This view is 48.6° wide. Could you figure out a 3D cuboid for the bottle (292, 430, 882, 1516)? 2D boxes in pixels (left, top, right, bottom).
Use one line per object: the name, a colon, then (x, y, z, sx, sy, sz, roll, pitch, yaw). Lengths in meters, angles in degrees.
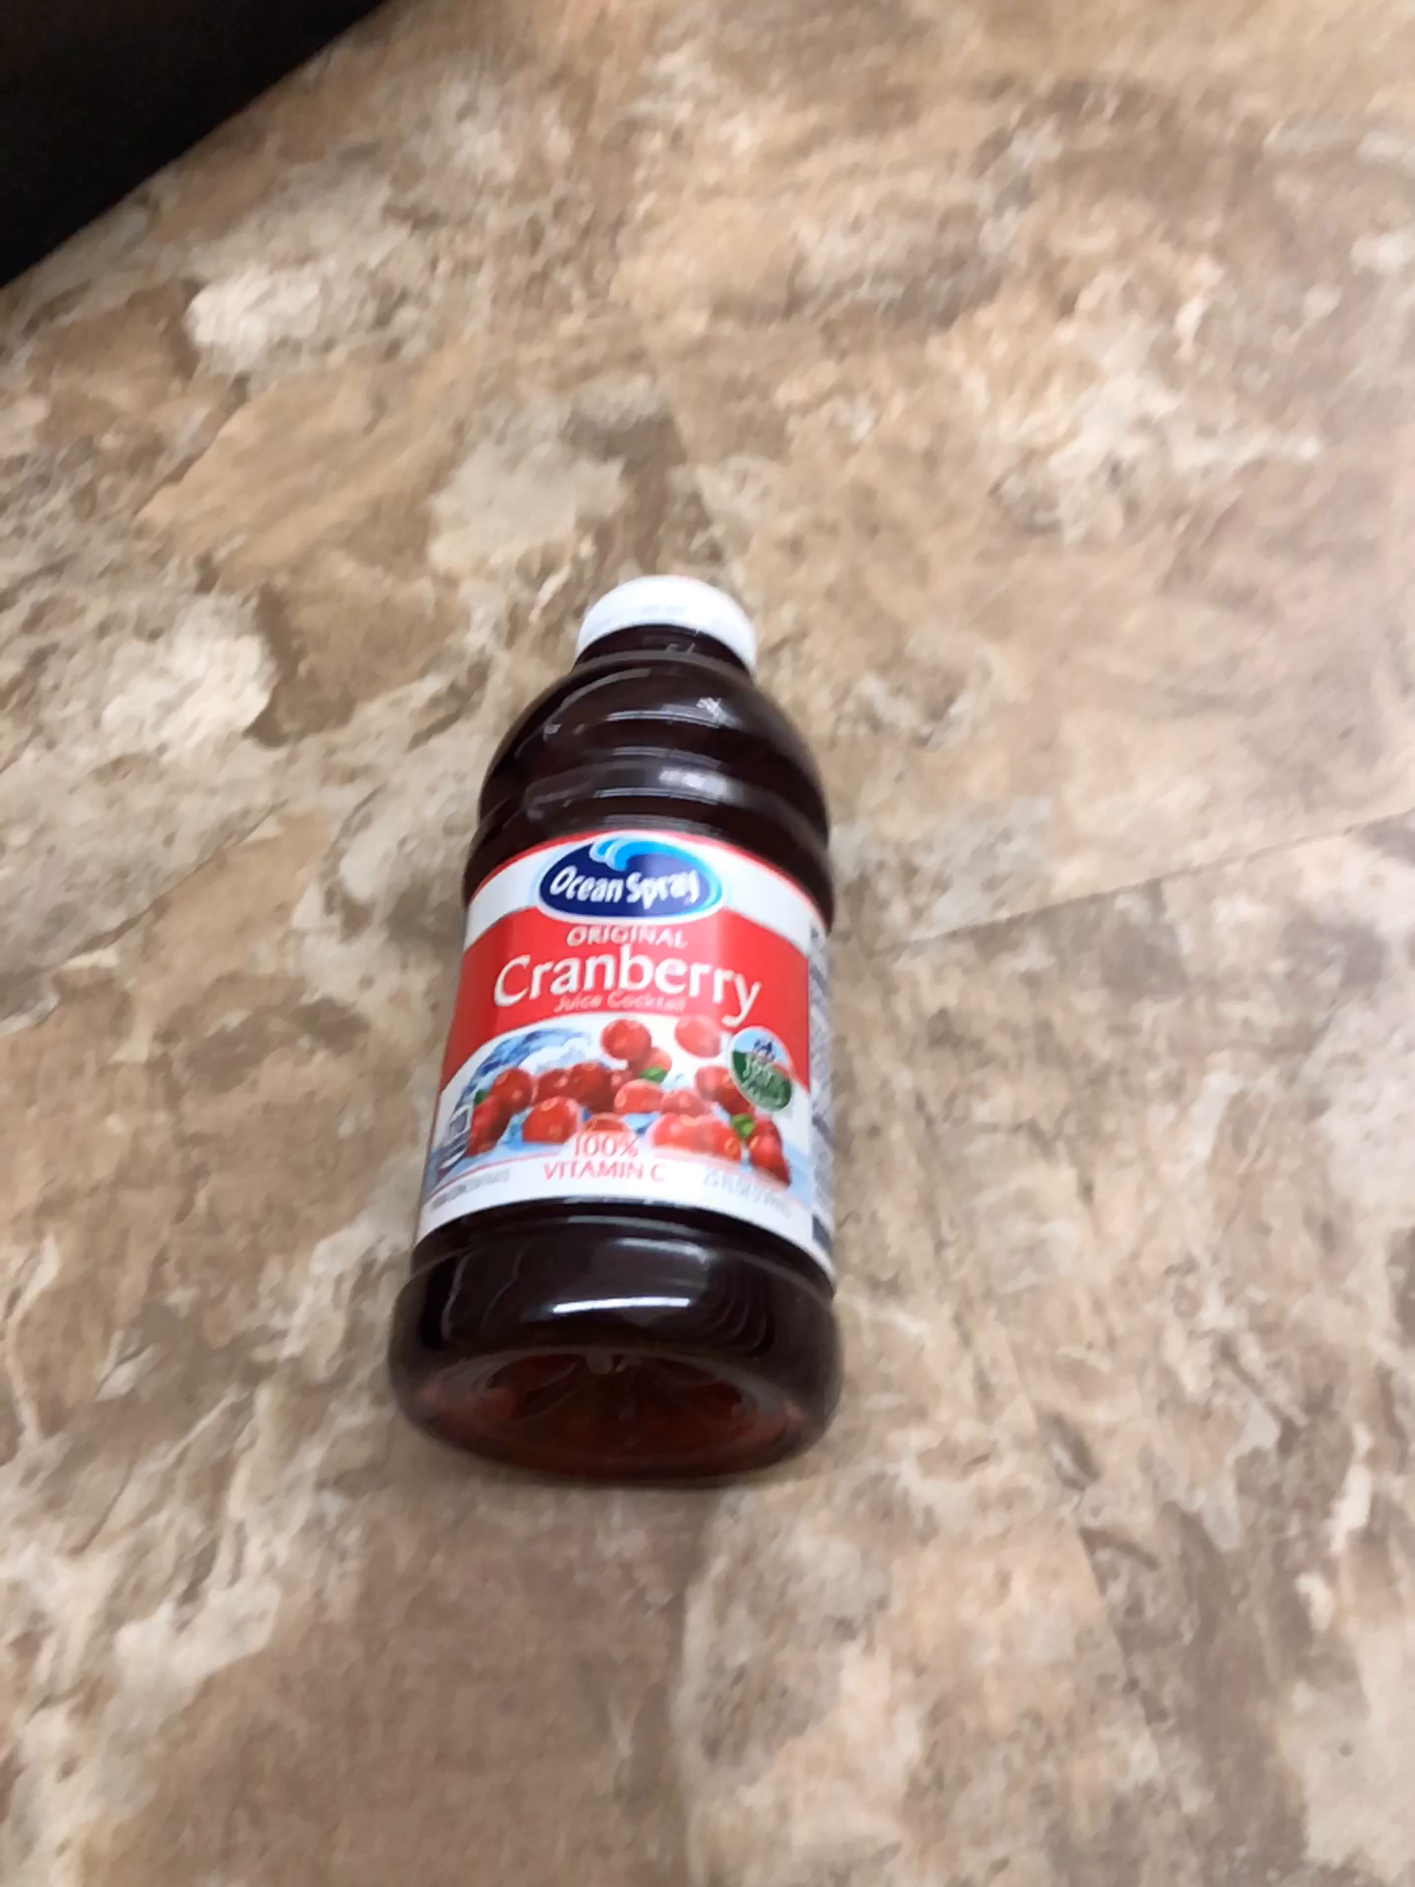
bottle: (-0.012, -0.003, 0.342, 0.089, 0.083, 0.227, -3, 53, 7)
